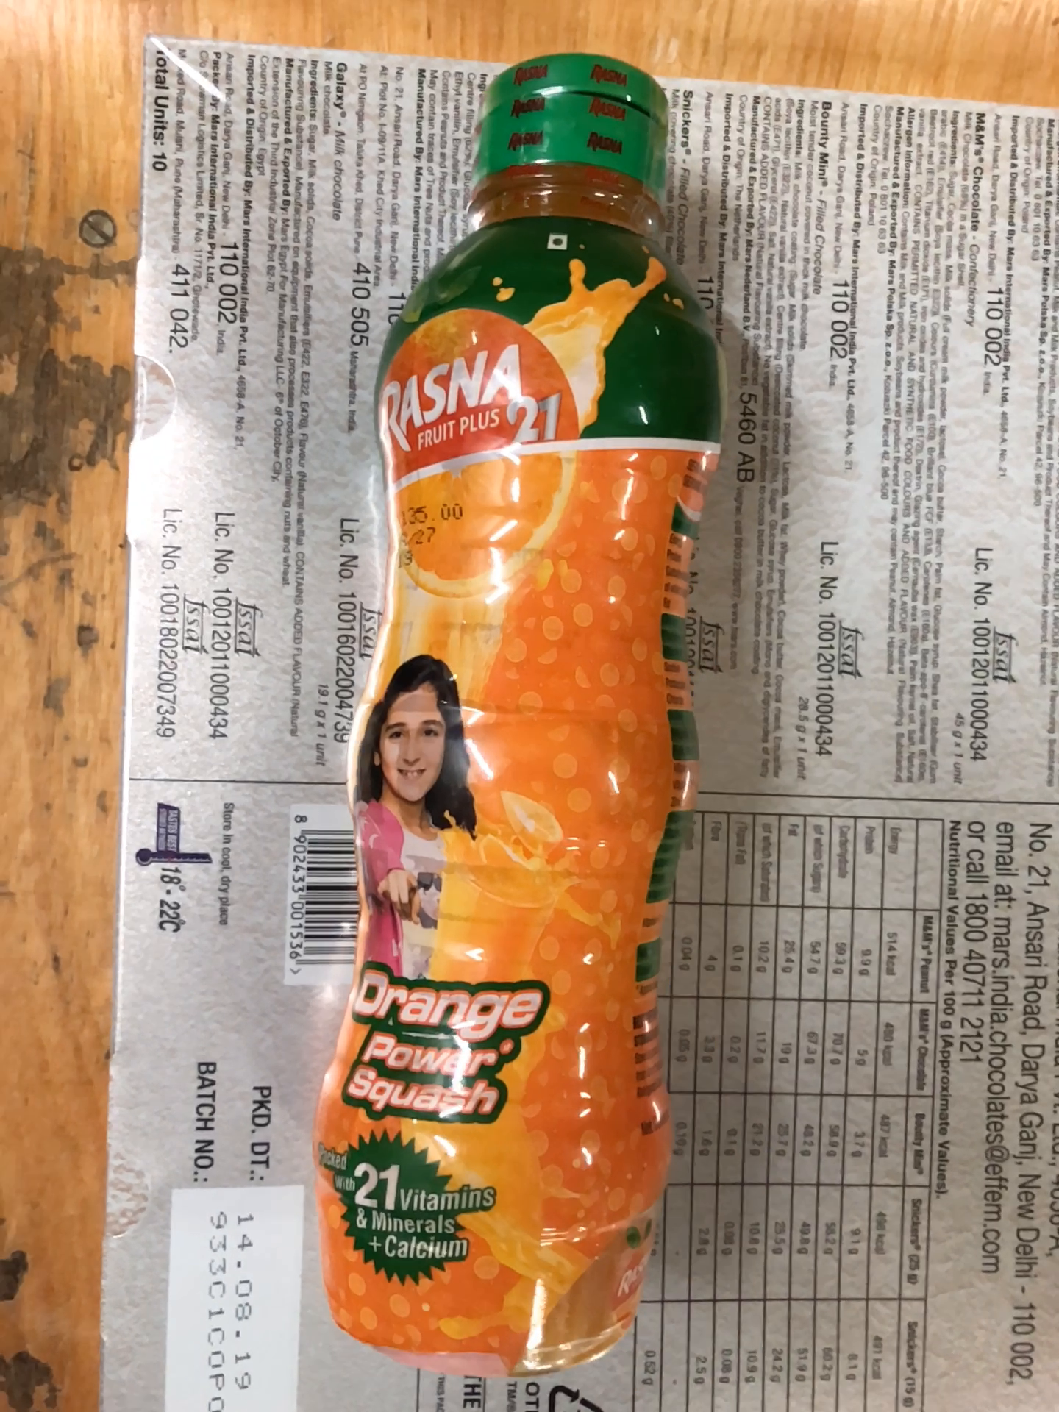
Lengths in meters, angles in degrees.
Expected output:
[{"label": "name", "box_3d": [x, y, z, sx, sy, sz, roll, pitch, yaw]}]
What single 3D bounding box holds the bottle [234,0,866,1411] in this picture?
[{"label": "bottle", "box_3d": [0.003, -0.007, 0.234, 0.080, 0.070, 0.250, 4, 91, -41]}]
